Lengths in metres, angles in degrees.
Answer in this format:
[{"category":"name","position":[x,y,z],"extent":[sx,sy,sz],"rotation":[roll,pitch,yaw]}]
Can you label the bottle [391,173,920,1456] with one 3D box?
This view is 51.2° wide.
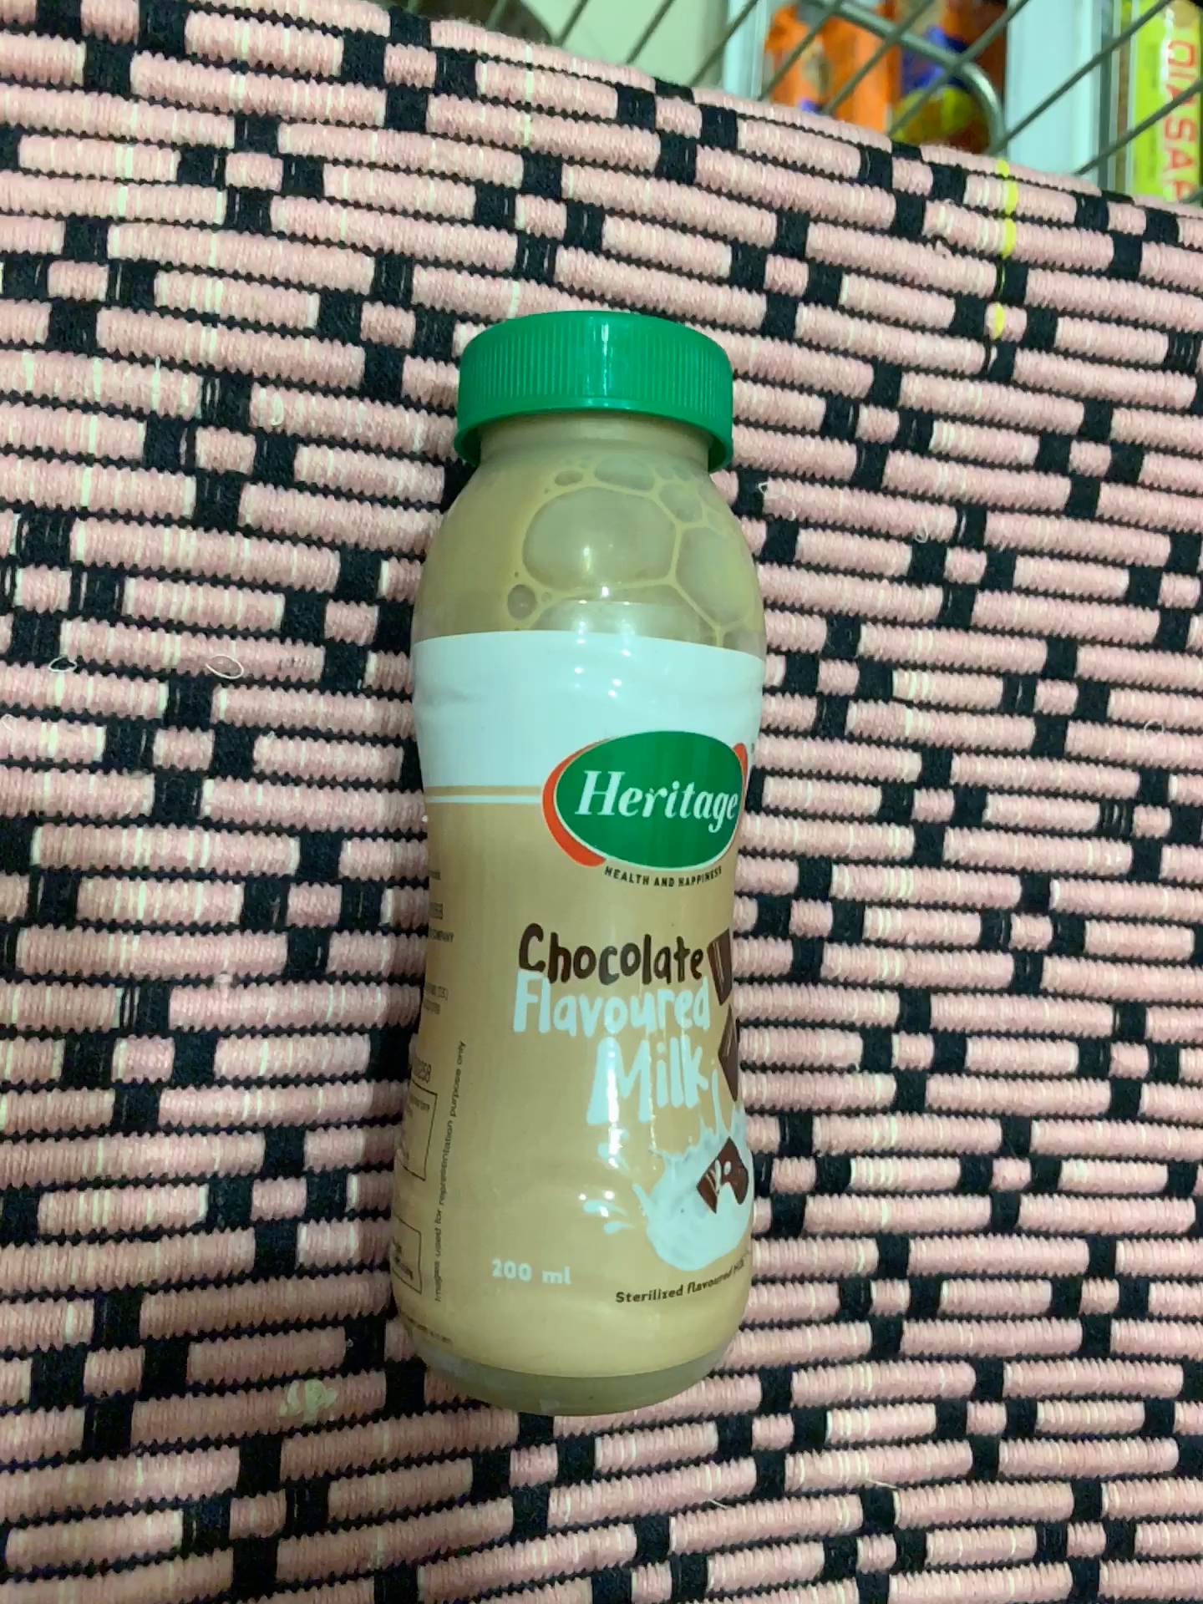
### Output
[{"category":"bottle","position":[0.006,0.001,0.170],"extent":[0.050,0.050,0.140],"rotation":[4,84,-30]}]
